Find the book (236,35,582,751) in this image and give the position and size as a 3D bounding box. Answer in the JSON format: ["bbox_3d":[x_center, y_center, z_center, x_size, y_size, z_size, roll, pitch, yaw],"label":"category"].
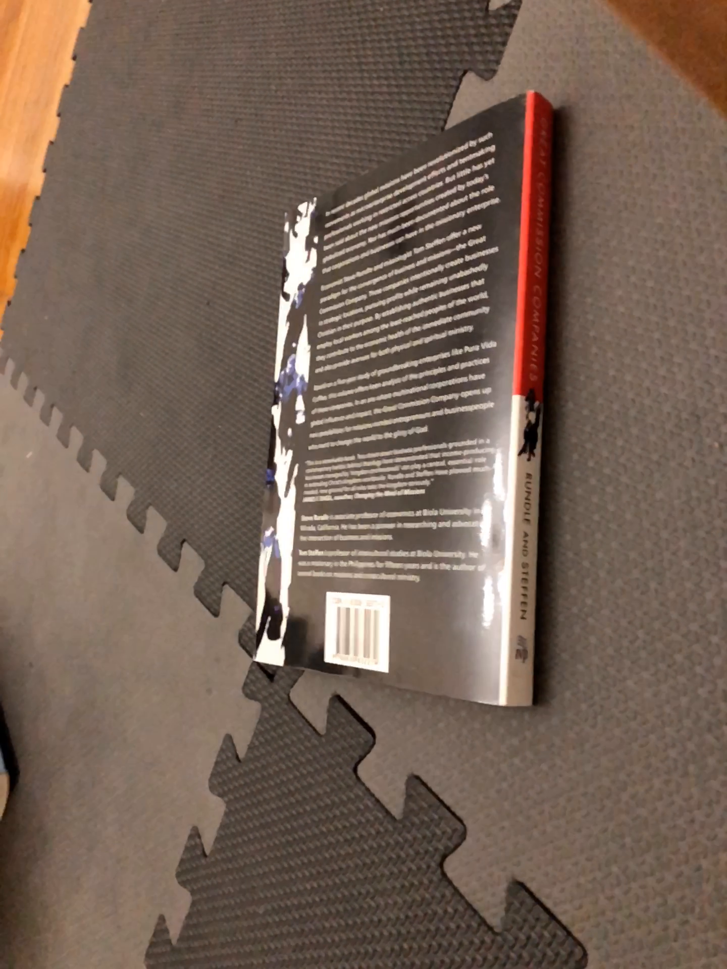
[{"bbox_3d":[0.011,-0.030,0.313,0.151,0.020,0.230,-6,76,49],"label":"book"}]

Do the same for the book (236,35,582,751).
[{"bbox_3d":[0.011,-0.030,0.313,0.151,0.020,0.230,-6,76,49],"label":"book"}]
